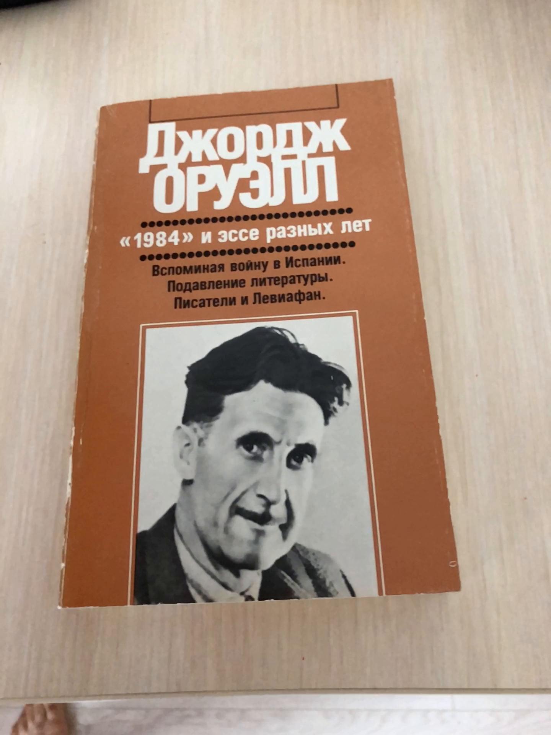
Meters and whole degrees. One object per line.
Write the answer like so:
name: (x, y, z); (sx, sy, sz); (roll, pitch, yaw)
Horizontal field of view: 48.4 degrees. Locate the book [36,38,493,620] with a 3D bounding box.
book: (-0.008, -0.023, 0.231); (0.130, 0.040, 0.211); (-4, 69, 4)
